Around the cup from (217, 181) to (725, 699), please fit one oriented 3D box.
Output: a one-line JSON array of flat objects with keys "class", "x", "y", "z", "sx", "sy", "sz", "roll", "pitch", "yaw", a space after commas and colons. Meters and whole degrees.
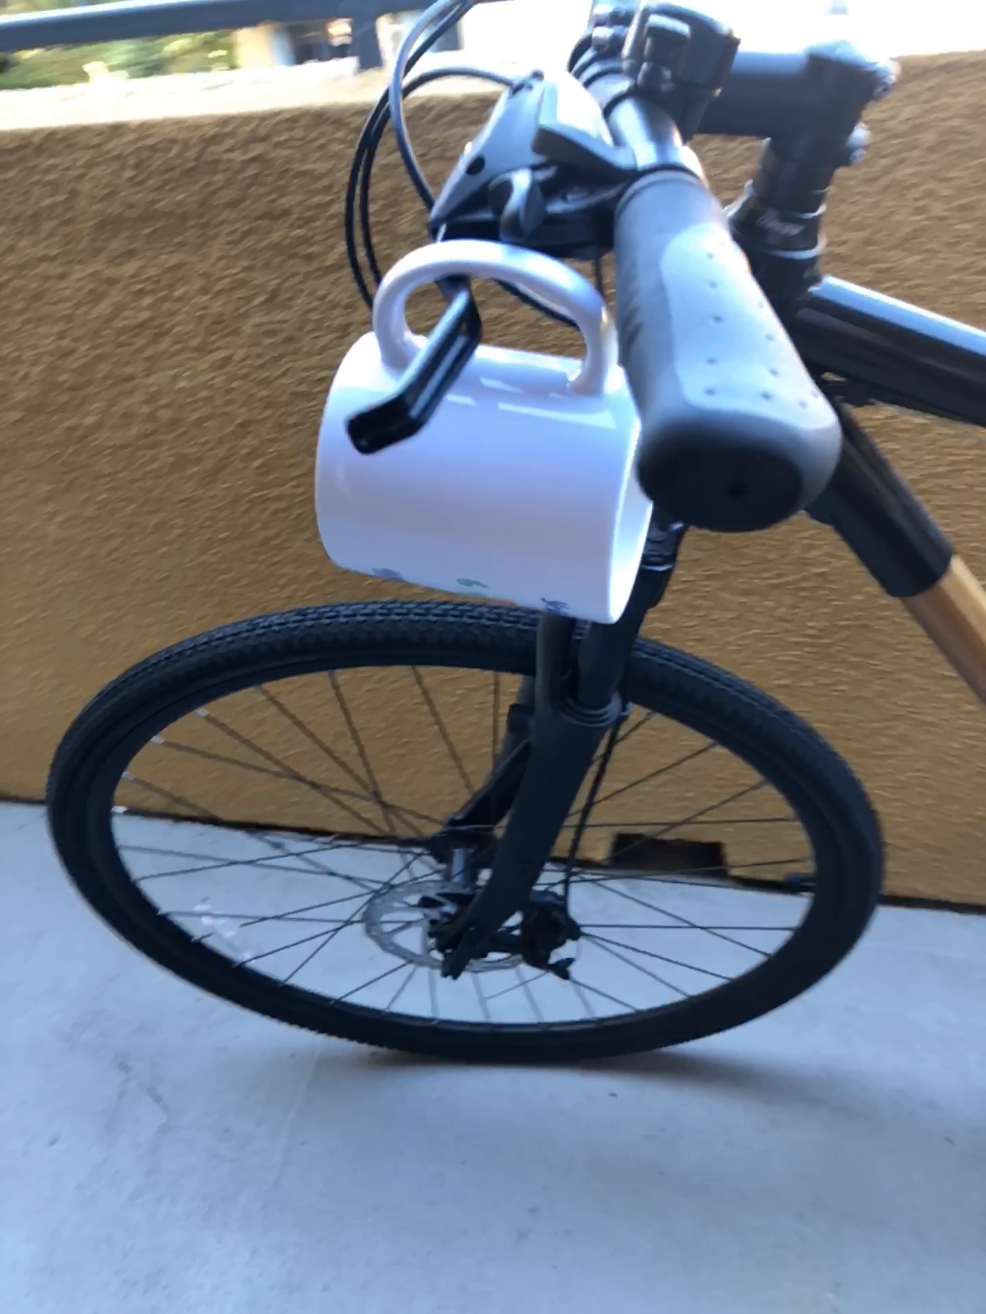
[{"class": "cup", "x": 0.002, "y": -0.072, "z": 0.354, "sx": 0.120, "sy": 0.119, "sz": 0.090, "roll": 13, "pitch": 50, "yaw": 20}]
